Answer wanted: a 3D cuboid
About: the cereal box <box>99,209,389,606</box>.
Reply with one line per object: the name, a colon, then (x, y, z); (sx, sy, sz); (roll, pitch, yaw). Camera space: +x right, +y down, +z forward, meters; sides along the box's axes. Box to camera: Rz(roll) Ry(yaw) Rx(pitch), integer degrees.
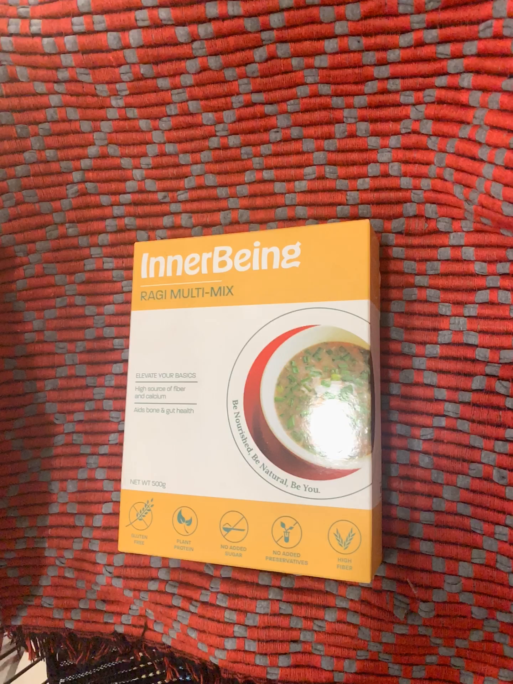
cereal box: (-0.003, 0.033, 0.313); (0.150, 0.070, 0.190); (-1, 82, 20)
